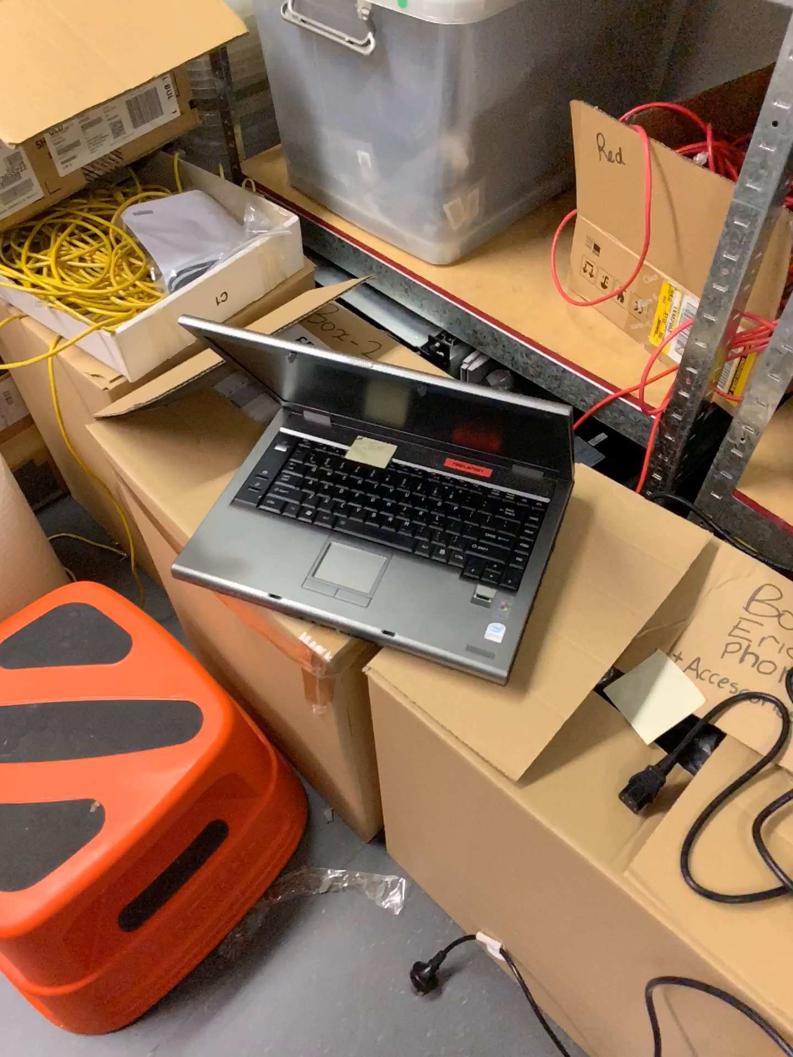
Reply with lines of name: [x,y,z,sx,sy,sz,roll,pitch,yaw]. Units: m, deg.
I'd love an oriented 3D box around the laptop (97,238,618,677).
laptop: [-0.022,-0.077,0.764,0.360,0.238,0.263,16,52,15]
